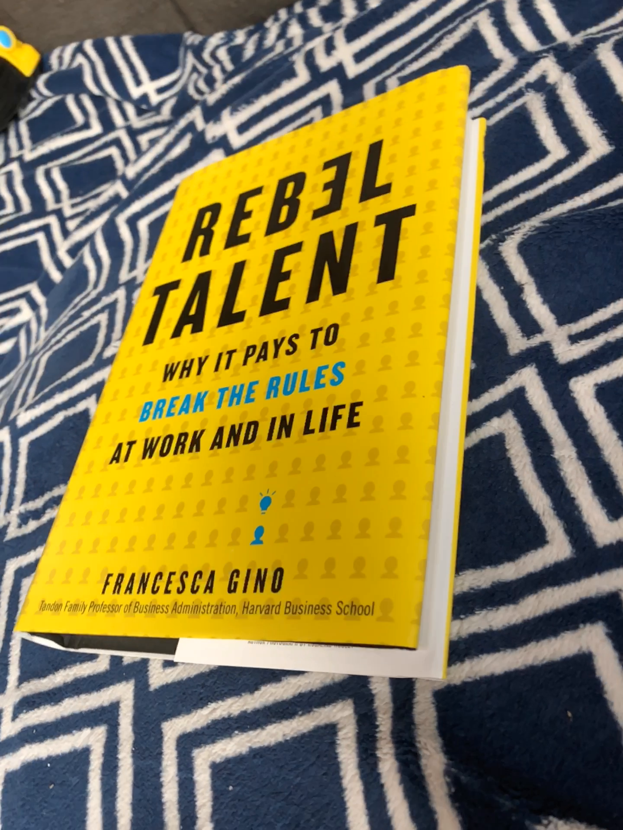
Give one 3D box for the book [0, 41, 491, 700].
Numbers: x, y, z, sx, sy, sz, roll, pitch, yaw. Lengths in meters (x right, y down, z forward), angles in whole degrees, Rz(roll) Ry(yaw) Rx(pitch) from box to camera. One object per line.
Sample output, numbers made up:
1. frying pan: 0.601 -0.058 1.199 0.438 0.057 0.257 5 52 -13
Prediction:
1. book: -0.023 -0.026 0.265 0.167 0.032 0.237 -9 54 31
